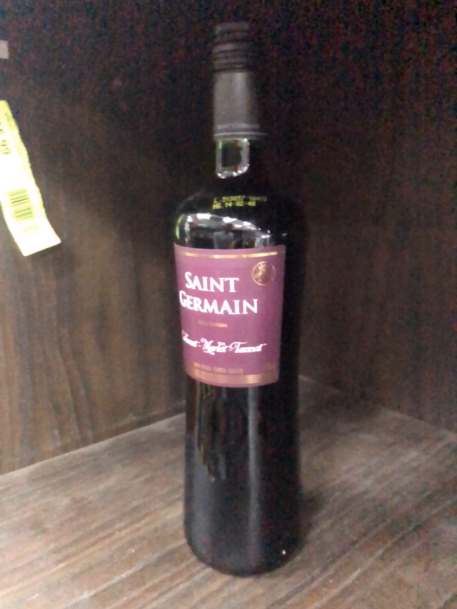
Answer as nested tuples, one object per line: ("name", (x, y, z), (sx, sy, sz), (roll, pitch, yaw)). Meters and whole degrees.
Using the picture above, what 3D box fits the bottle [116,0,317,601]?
("bottle", (0.001, 0.000, 0.289), (0.080, 0.309, 0.070), (3, 13, 21))
